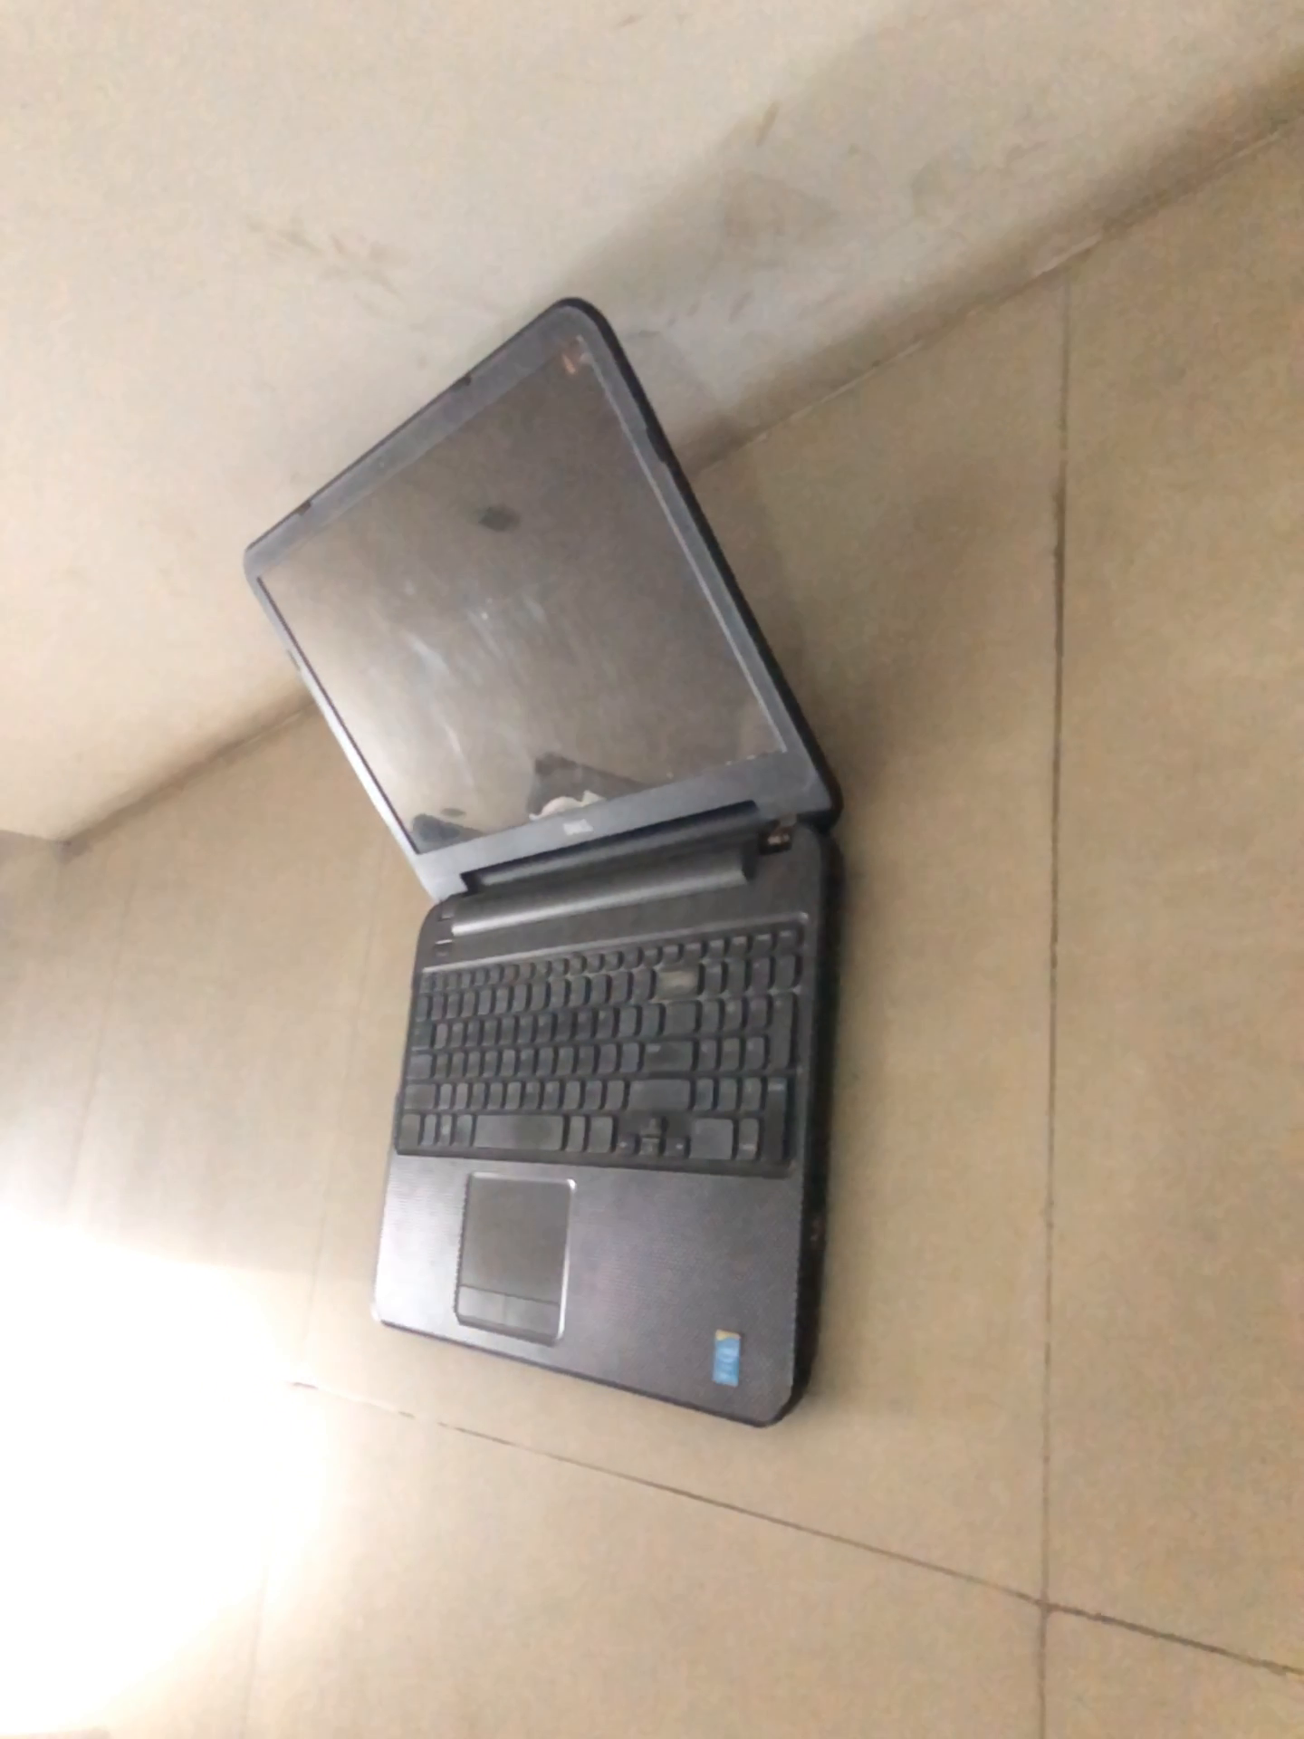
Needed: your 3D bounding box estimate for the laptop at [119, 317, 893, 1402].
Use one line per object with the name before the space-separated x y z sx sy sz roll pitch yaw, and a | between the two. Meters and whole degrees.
laptop | -0.077 0.013 0.691 0.323 0.165 0.409 -13 65 50
